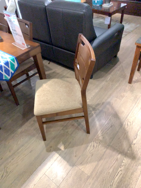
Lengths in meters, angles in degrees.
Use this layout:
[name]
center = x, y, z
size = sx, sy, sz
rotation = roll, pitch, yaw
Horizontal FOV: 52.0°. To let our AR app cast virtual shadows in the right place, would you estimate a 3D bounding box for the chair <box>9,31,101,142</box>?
[chair]
center = -0.088, -0.027, 1.288
size = 0.530, 0.827, 0.472
rotation = -7, 44, -3
